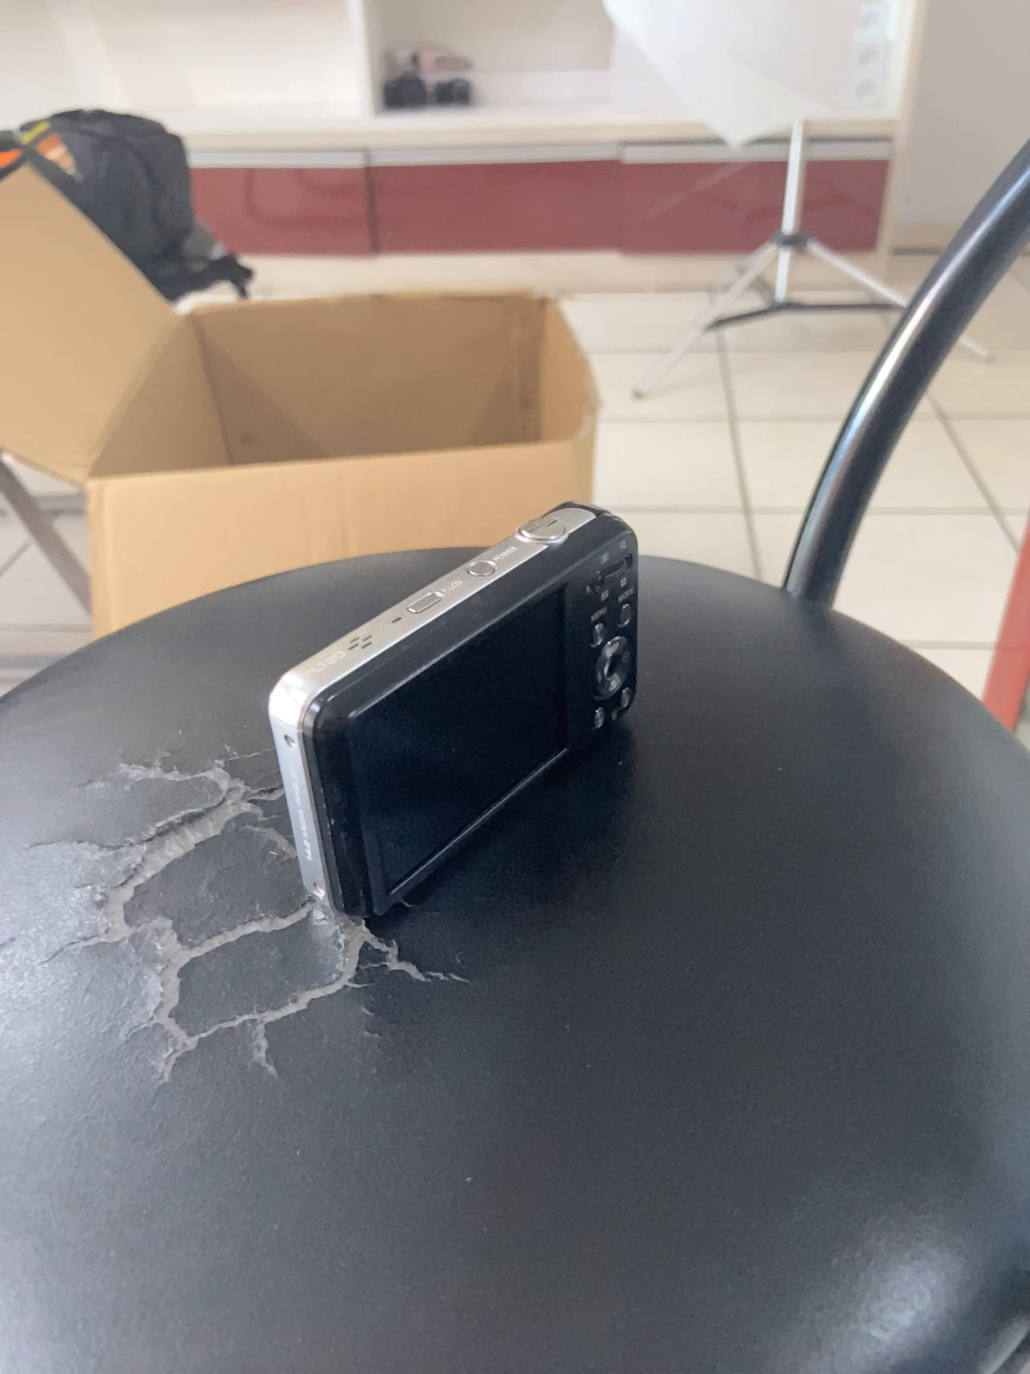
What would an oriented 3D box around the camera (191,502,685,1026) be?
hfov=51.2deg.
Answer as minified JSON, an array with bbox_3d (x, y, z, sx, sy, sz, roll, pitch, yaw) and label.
[{"bbox_3d":[-0.007,0.009,0.209,0.030,0.050,0.100,23,43,32],"label":"camera"}]
